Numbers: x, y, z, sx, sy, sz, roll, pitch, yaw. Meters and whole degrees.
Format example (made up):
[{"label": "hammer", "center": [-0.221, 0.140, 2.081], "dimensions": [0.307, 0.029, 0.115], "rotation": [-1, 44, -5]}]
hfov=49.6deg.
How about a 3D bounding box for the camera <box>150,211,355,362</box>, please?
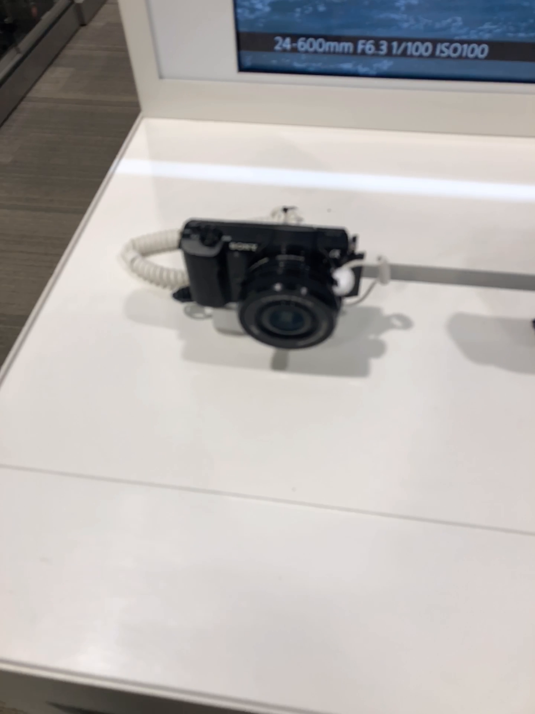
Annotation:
[{"label": "camera", "center": [-0.006, -0.045, 0.367], "dimensions": [0.113, 0.060, 0.062], "rotation": [6, 52, 8]}]
